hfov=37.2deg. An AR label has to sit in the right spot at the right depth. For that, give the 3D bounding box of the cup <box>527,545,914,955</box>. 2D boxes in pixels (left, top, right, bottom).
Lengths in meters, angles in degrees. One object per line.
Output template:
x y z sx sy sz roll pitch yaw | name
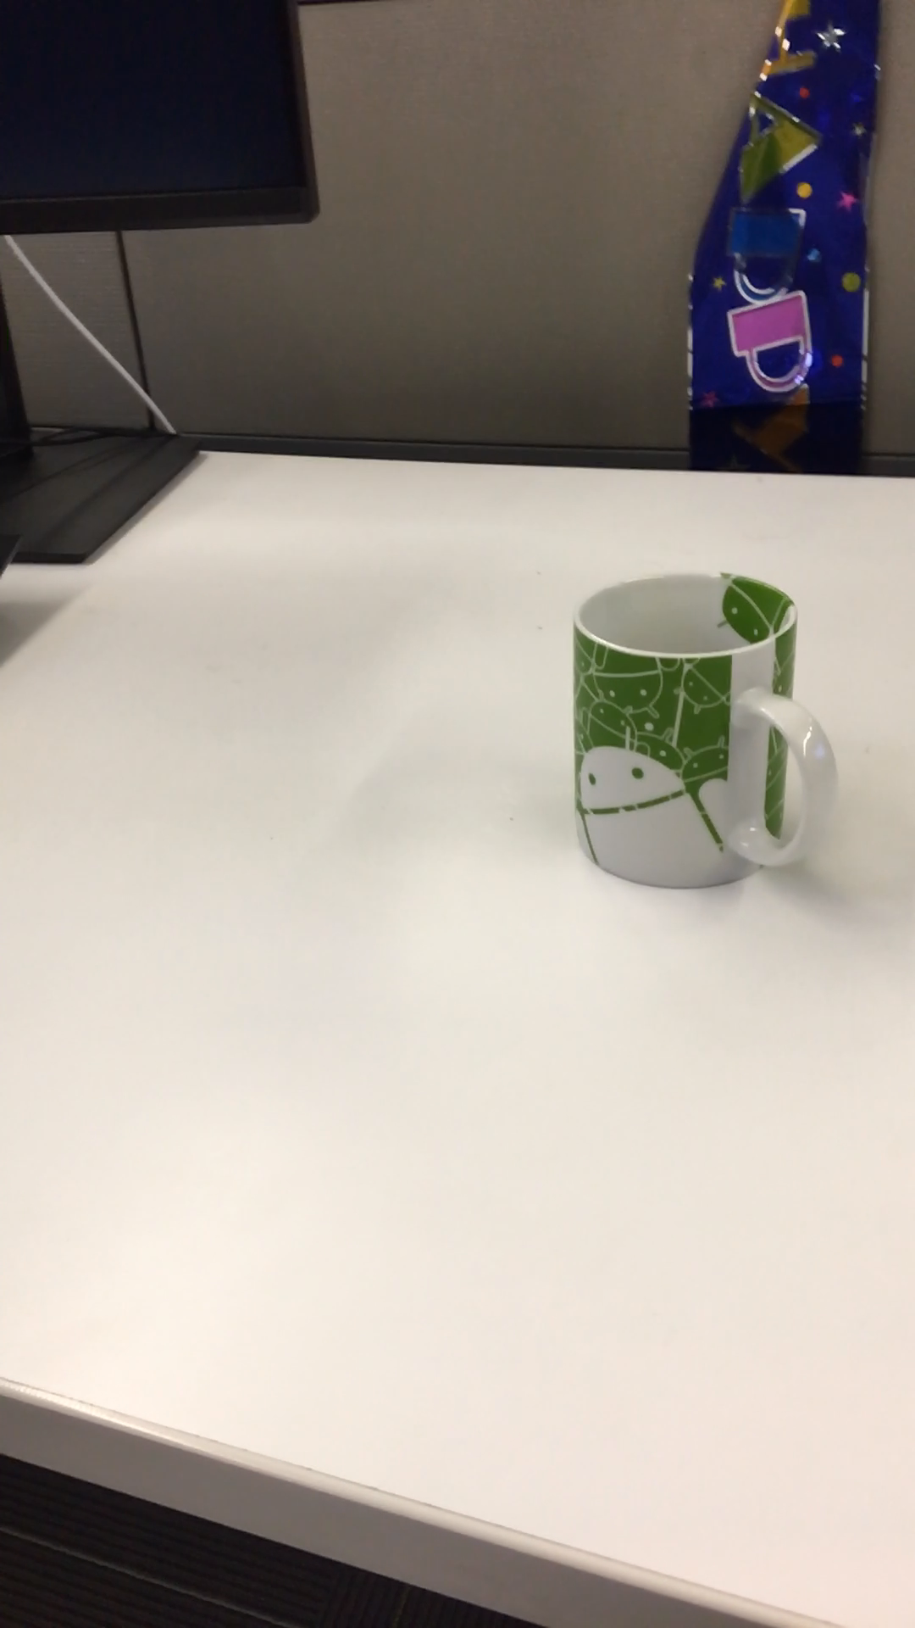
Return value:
0.097 -0.028 0.481 0.110 0.090 0.090 22 39 36 | cup
